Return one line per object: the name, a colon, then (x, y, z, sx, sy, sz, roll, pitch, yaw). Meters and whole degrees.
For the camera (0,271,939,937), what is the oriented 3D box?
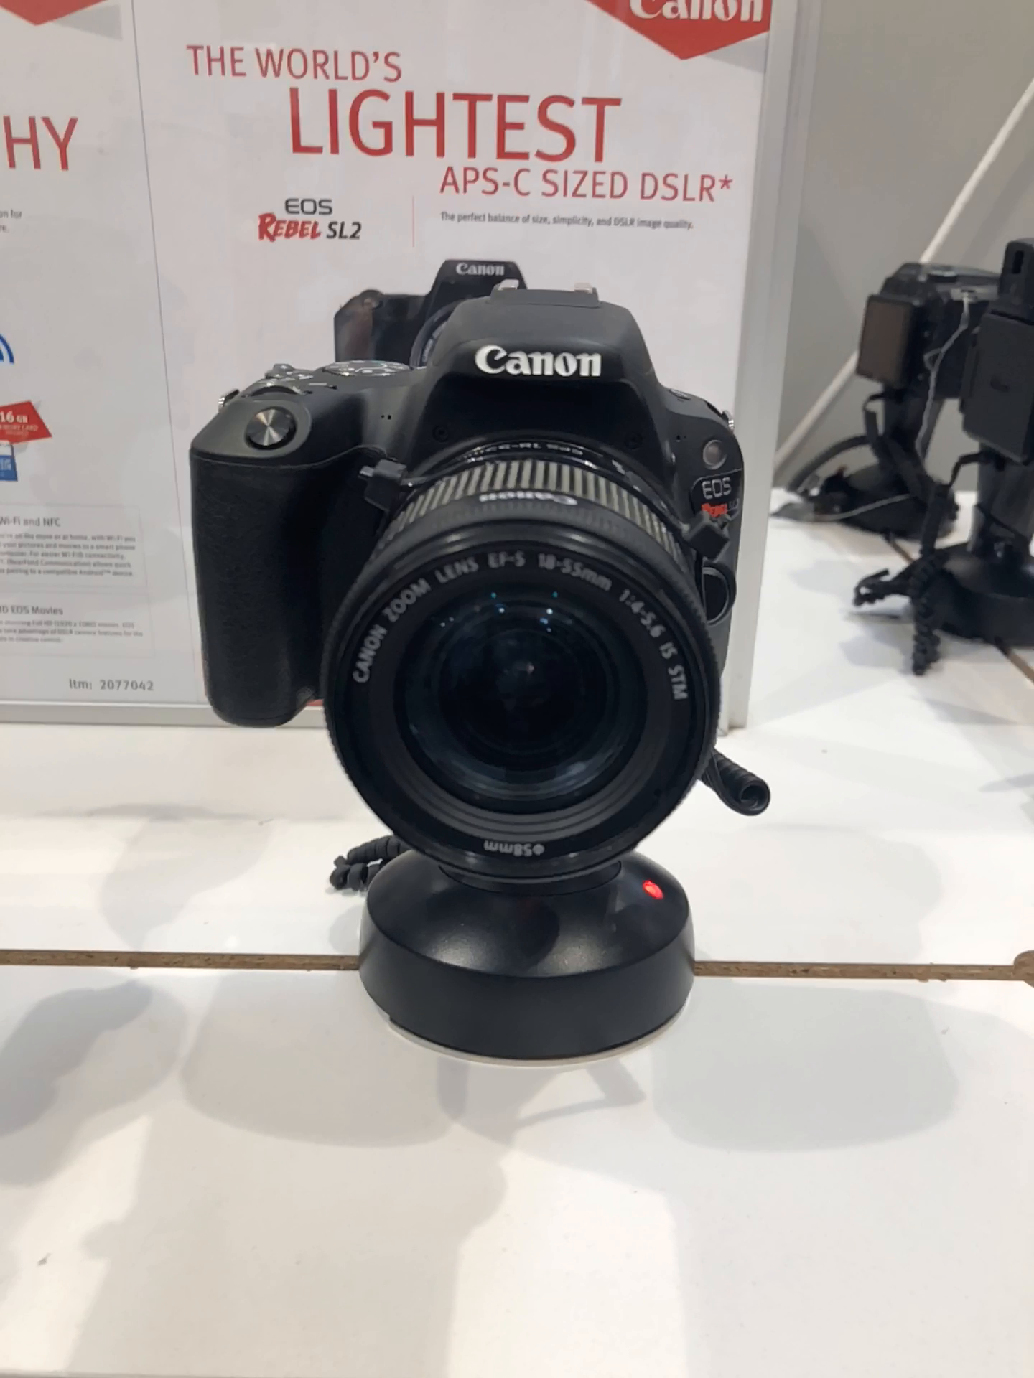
camera: (-0.008, -0.028, 0.223, 0.130, 0.089, 0.121, 3, 23, 2)
